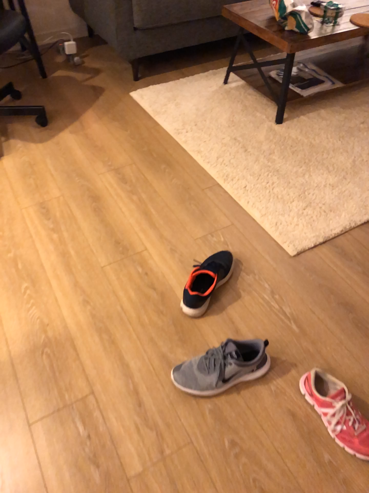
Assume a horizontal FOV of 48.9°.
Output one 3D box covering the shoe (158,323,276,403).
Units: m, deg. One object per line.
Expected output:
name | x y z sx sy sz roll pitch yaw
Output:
shoe | 0.089 0.335 1.180 0.306 0.109 0.131 -9 47 -8

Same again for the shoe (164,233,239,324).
shoe | 0.066 0.103 1.416 0.130 0.099 0.301 22 51 20

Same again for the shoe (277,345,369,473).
shoe | 0.405 0.430 1.108 0.140 0.090 0.281 -23 51 -20
